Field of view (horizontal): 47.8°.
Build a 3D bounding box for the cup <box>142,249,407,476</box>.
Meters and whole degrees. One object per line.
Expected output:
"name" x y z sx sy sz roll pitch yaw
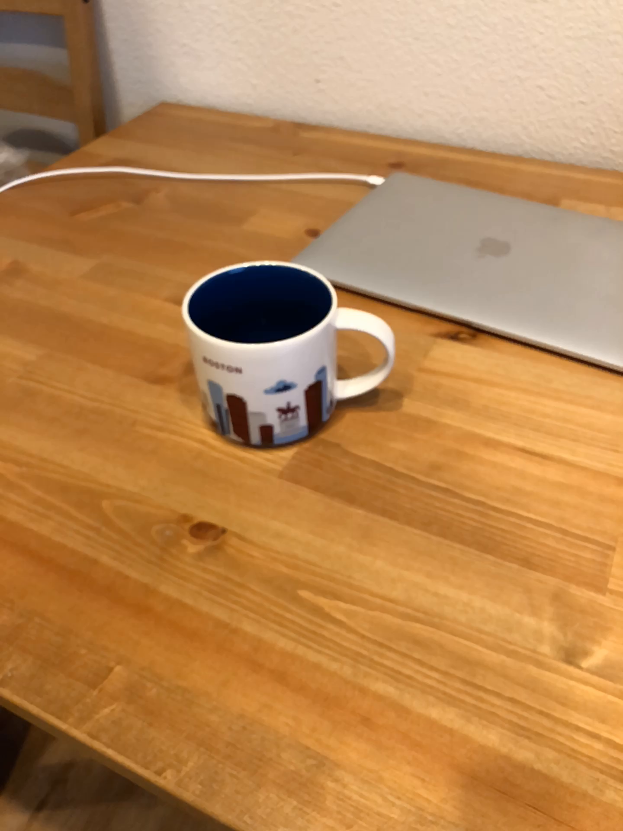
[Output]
"cup" -0.017 -0.038 0.461 0.140 0.090 0.100 8 43 12
